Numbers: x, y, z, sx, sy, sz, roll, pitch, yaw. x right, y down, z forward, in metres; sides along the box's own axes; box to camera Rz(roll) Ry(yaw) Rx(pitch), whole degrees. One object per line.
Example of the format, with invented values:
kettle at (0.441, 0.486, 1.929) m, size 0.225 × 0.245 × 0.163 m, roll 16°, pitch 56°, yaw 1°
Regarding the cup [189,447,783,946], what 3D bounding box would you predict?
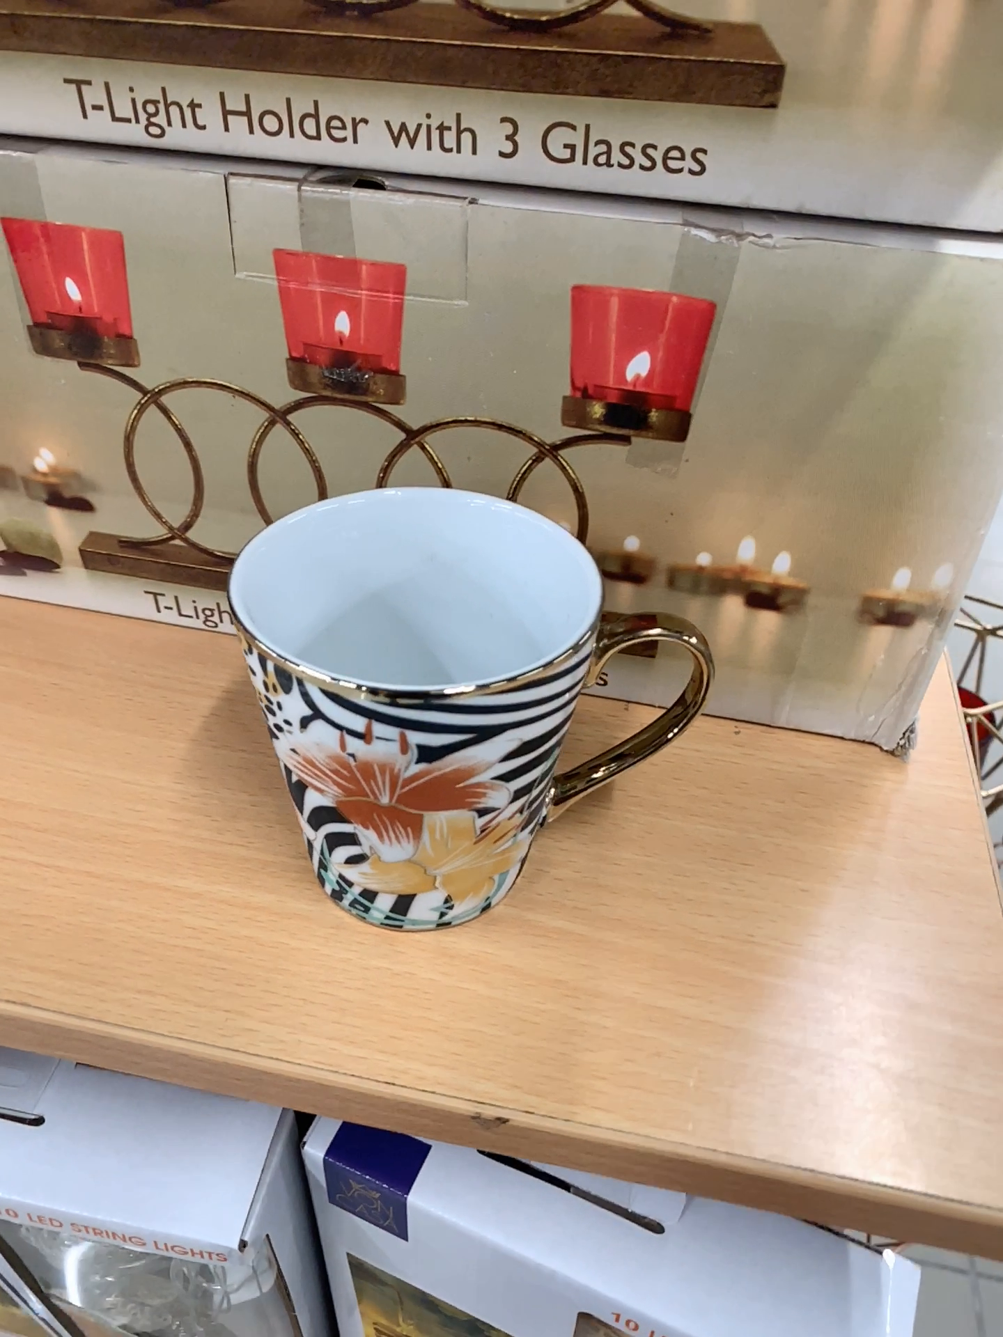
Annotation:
cup at (-0.006, 0.006, 0.226) m, size 0.100 × 0.080 × 0.070 m, roll 1°, pitch 38°, yaw -5°
